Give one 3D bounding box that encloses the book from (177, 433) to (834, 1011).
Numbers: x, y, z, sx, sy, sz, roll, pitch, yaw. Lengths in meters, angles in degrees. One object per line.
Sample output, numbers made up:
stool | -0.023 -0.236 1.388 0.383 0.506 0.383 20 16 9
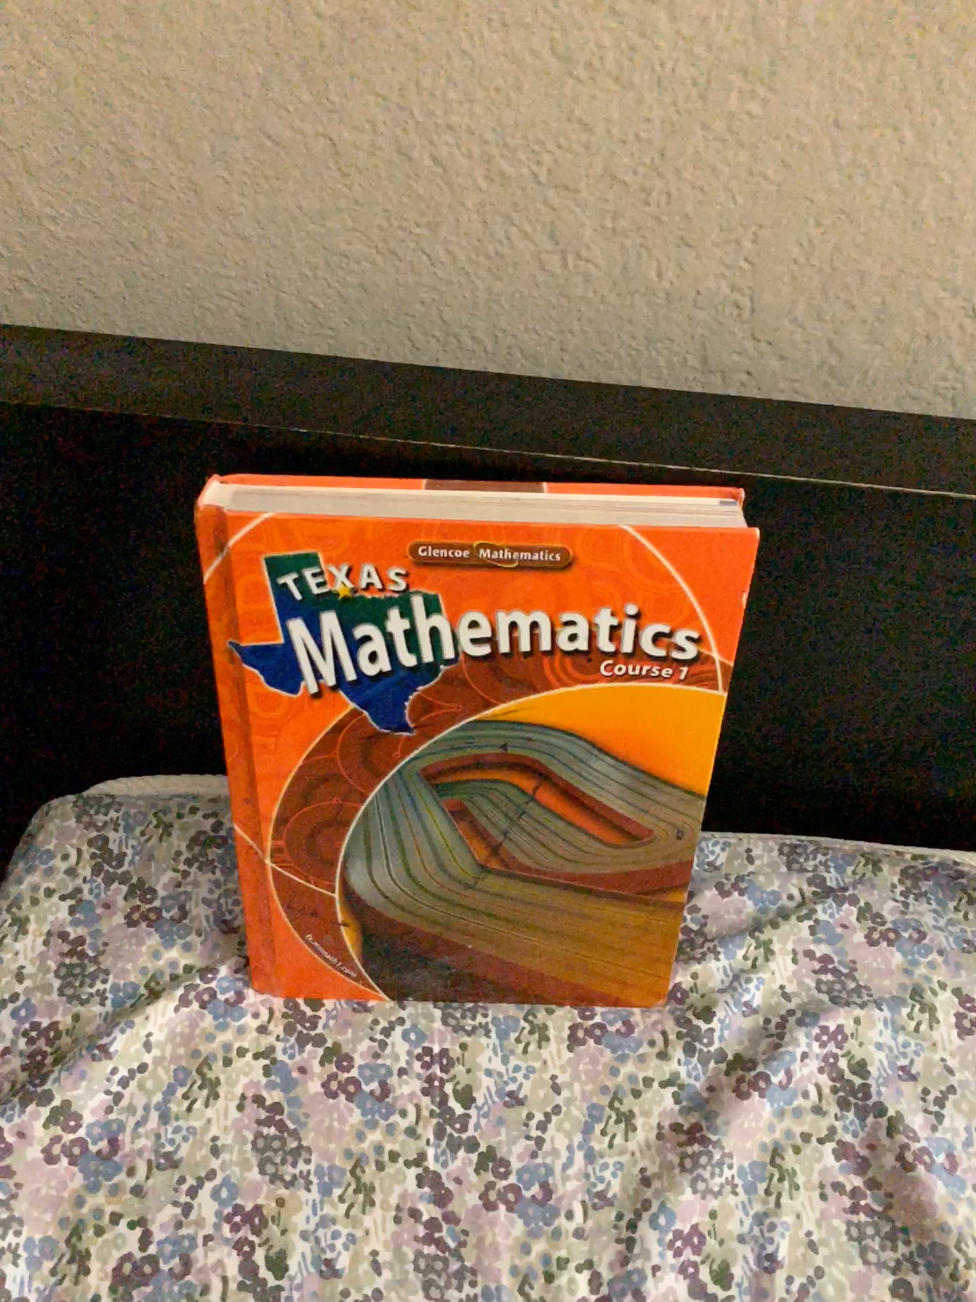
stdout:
book | -0.001 0.054 0.458 0.230 0.299 0.050 1 37 -4
